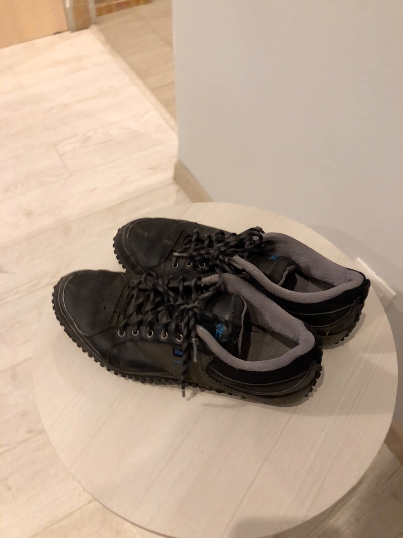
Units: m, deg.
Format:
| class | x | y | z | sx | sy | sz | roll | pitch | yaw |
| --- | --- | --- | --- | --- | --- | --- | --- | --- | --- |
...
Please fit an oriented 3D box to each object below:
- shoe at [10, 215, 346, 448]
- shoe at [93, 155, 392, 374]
| class | x | y | z | sx | sy | sz | roll | pitch | yaw |
| --- | --- | --- | --- | --- | --- | --- | --- | --- | --- |
| shoe | -0.019 | 0.057 | 0.426 | 0.270 | 0.099 | 0.111 | 17 | 57 | 11 |
| shoe | 0.039 | -0.010 | 0.473 | 0.270 | 0.099 | 0.111 | 21 | 57 | 13 |
